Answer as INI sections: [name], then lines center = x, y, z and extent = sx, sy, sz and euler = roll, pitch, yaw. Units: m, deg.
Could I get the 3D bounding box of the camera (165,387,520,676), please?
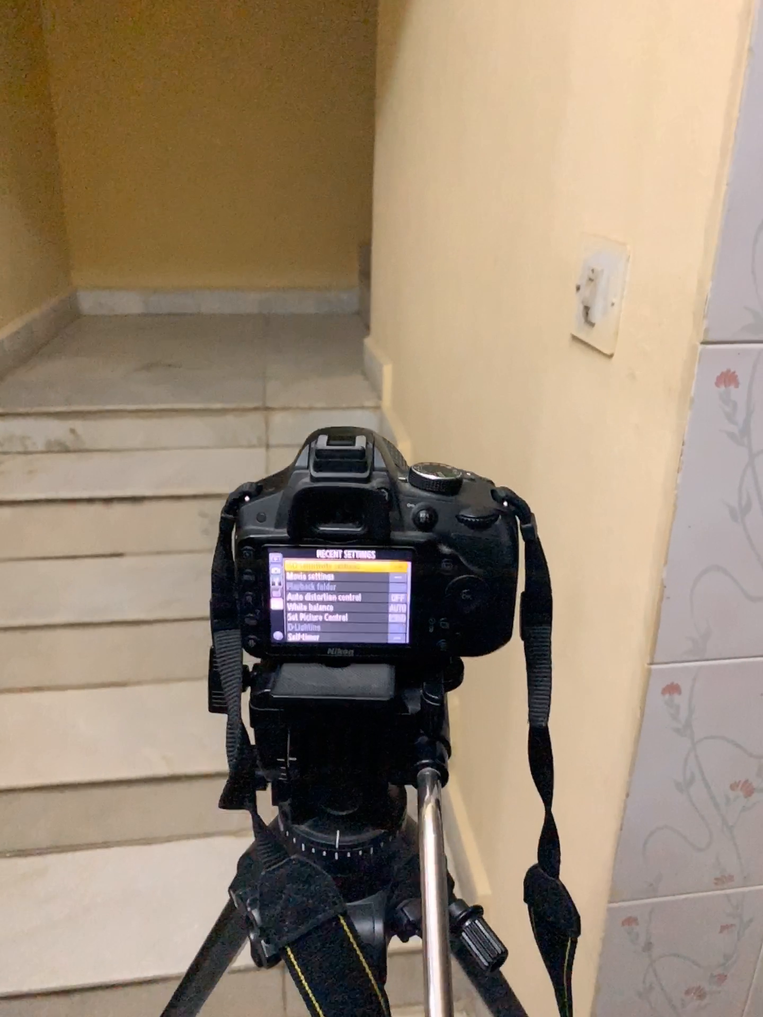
[camera]
center = -0.016, 0.003, 0.373
extent = 0.134, 0.090, 0.130
euler = 1, 22, -1
